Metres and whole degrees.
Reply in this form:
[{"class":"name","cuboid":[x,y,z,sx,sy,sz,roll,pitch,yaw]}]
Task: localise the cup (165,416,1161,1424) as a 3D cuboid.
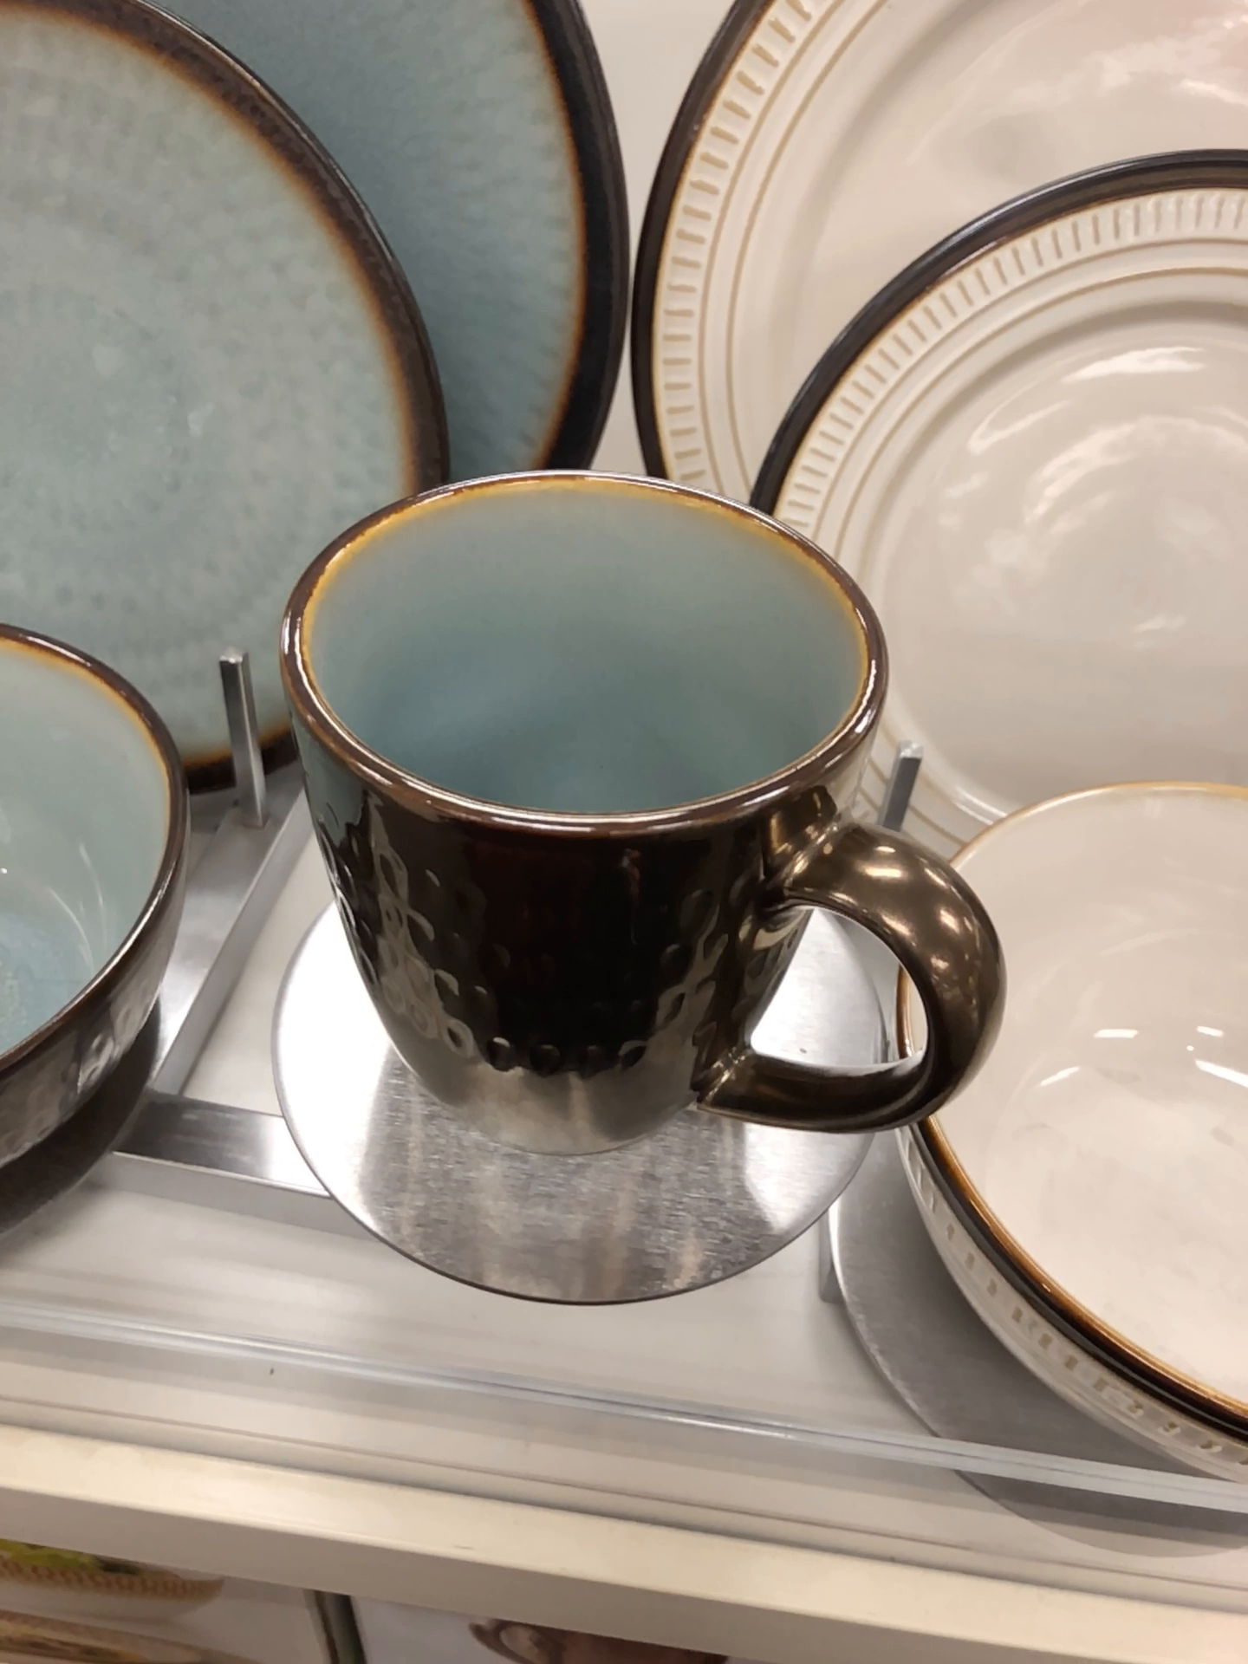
[{"class":"cup","cuboid":[0.004,0.011,0.236,0.117,0.100,0.083,29,50,21]}]
